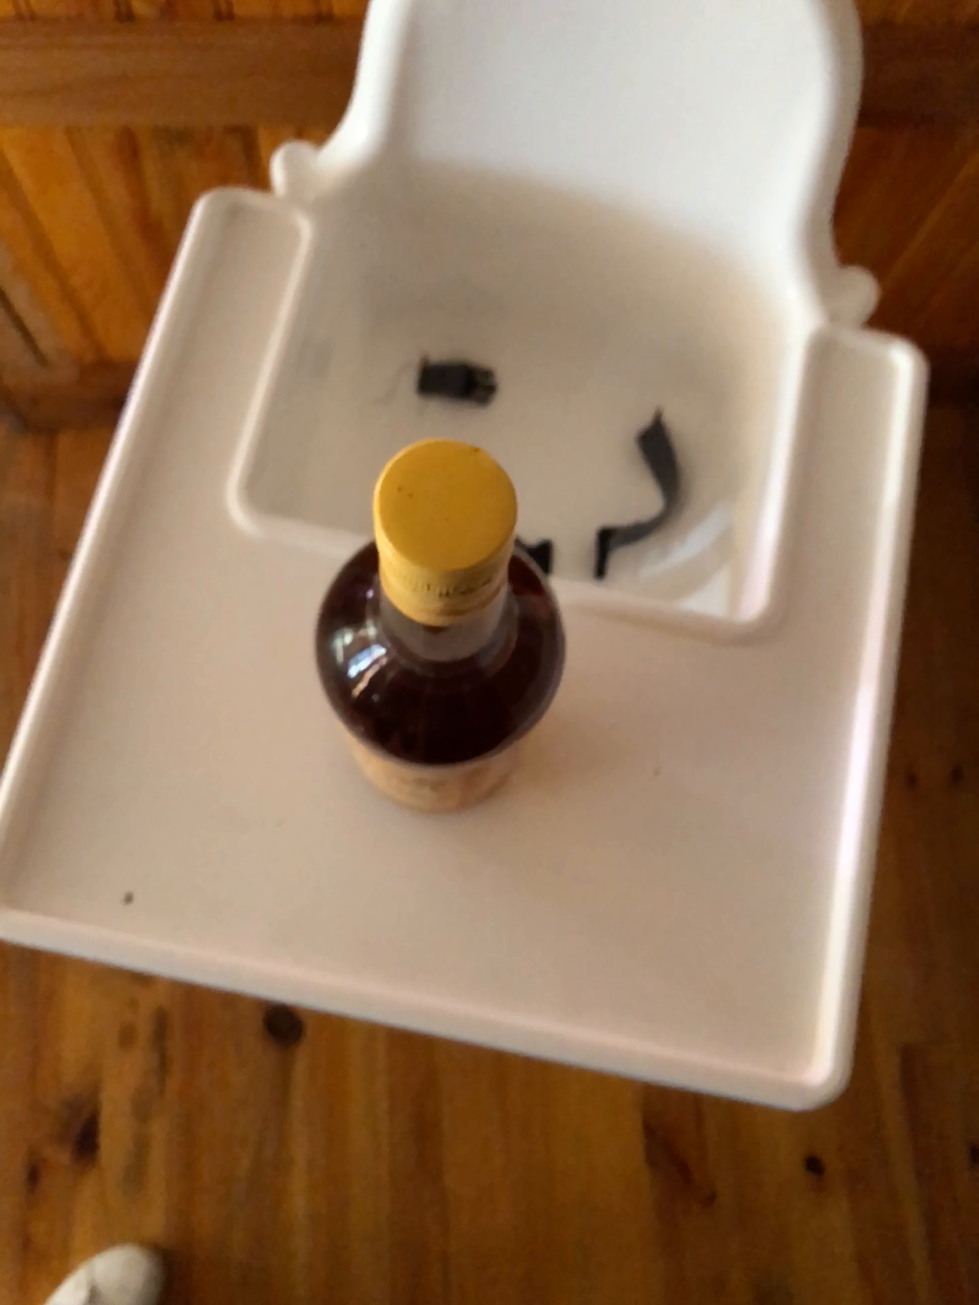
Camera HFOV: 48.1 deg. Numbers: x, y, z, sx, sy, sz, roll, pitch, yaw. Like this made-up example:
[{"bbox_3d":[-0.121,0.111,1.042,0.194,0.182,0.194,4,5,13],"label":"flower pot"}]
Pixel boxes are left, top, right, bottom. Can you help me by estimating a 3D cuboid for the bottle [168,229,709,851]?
[{"bbox_3d":[-0.020,-0.003,0.383,0.080,0.300,0.090,-35,80,-11],"label":"bottle"}]
